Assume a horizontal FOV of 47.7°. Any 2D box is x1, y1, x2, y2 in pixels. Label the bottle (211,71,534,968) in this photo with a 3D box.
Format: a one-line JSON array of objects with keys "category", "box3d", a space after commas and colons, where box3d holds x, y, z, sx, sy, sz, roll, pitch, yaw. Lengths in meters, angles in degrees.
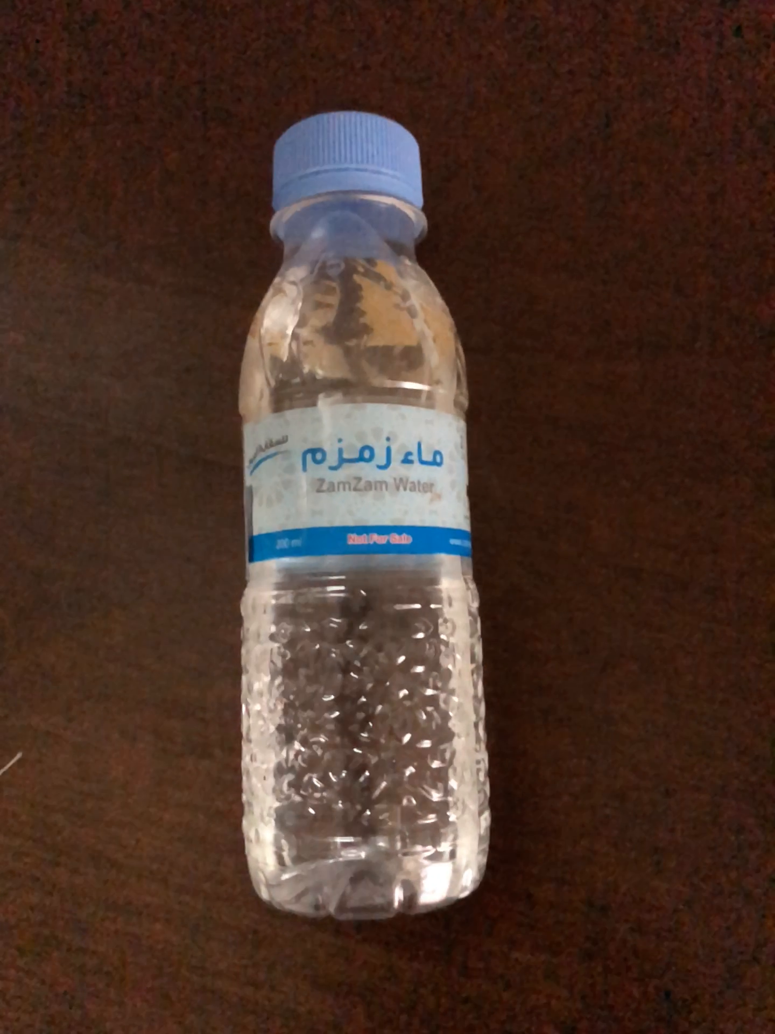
[{"category": "bottle", "box3d": [-0.005, -0.002, 0.182, 0.050, 0.050, 0.160, -3, 83, -3]}]
